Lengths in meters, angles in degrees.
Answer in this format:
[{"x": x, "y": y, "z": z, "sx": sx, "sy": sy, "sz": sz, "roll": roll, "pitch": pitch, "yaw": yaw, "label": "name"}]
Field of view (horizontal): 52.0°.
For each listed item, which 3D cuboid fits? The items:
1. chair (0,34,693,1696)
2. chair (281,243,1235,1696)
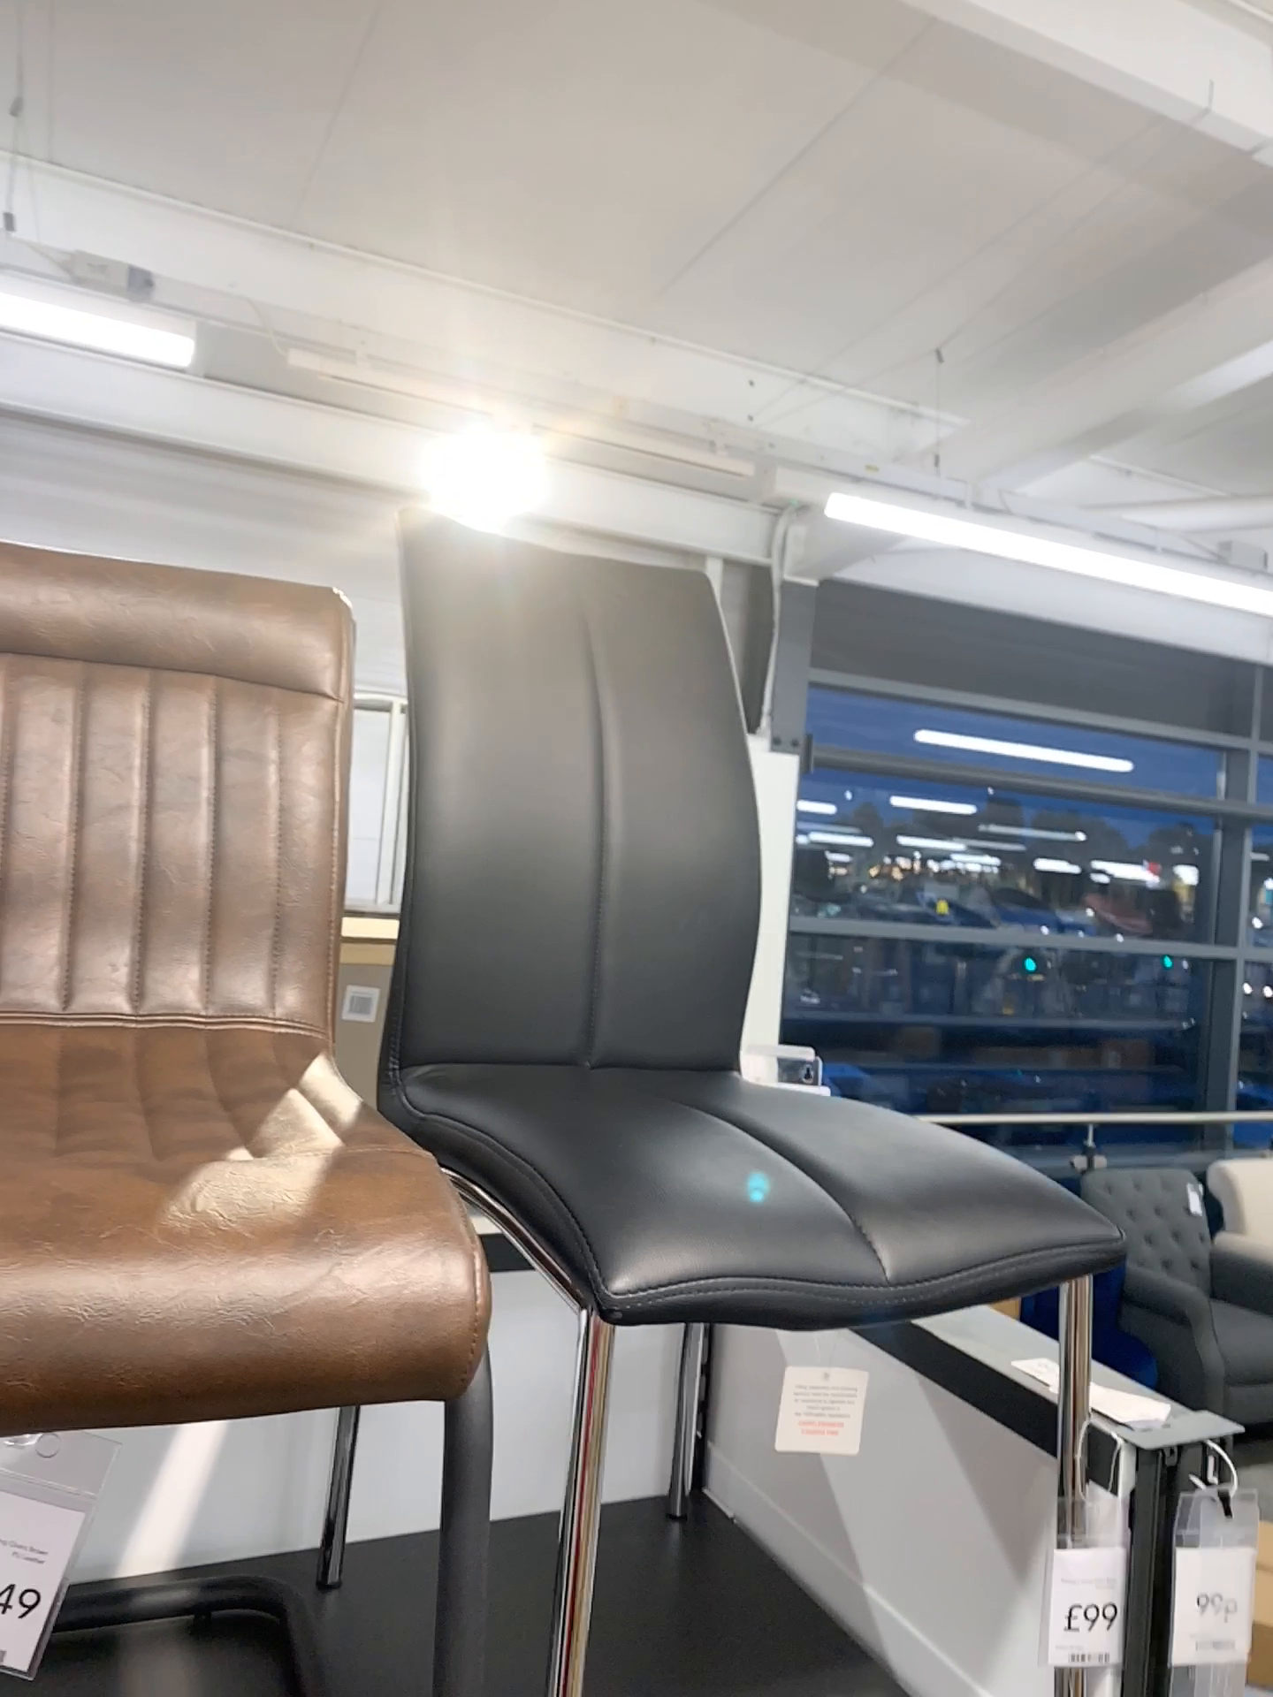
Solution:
[{"x": -0.377, "y": 0.164, "z": 0.832, "sx": 0.554, "sy": 0.884, "sz": 0.583, "roll": 6, "pitch": -2, "yaw": -24, "label": "chair"}, {"x": 0.053, "y": 0.163, "z": 1.089, "sx": 0.474, "sy": 0.994, "sz": 0.583, "roll": 6, "pitch": -2, "yaw": -27, "label": "chair"}]
